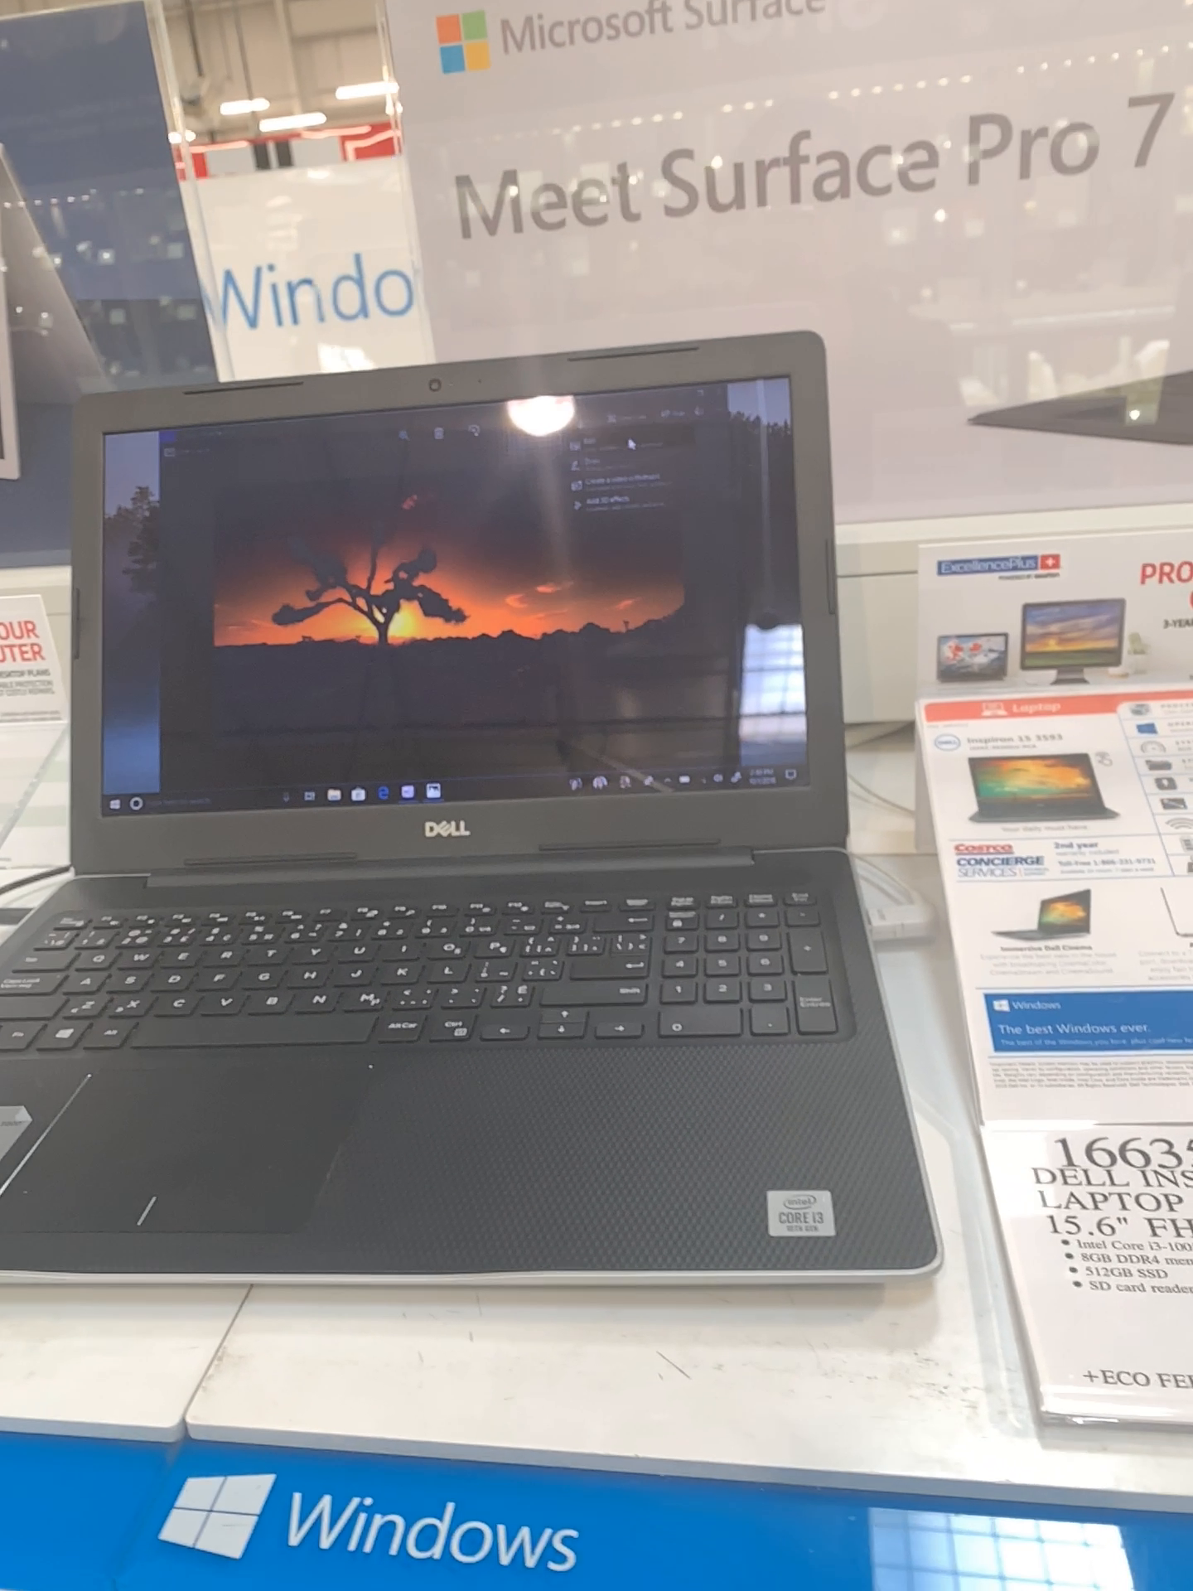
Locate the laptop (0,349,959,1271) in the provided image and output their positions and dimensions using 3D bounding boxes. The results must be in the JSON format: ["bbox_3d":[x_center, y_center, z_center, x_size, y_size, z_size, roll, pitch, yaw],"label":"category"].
[{"bbox_3d":[-0.084,-0.034,0.453,0.357,0.205,0.343,-2,22,6],"label":"laptop"}]
